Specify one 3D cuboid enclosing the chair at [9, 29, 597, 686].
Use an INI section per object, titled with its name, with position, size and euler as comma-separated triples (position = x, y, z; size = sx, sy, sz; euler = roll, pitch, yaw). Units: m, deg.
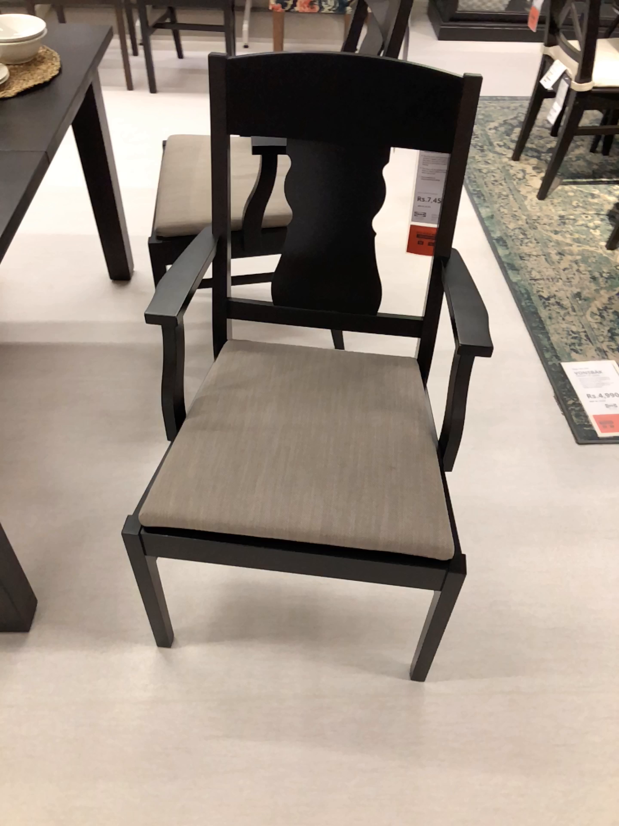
[chair]
position = 0.003, -0.024, 1.213
size = 0.570, 0.994, 0.574
euler = 5, 47, 3
